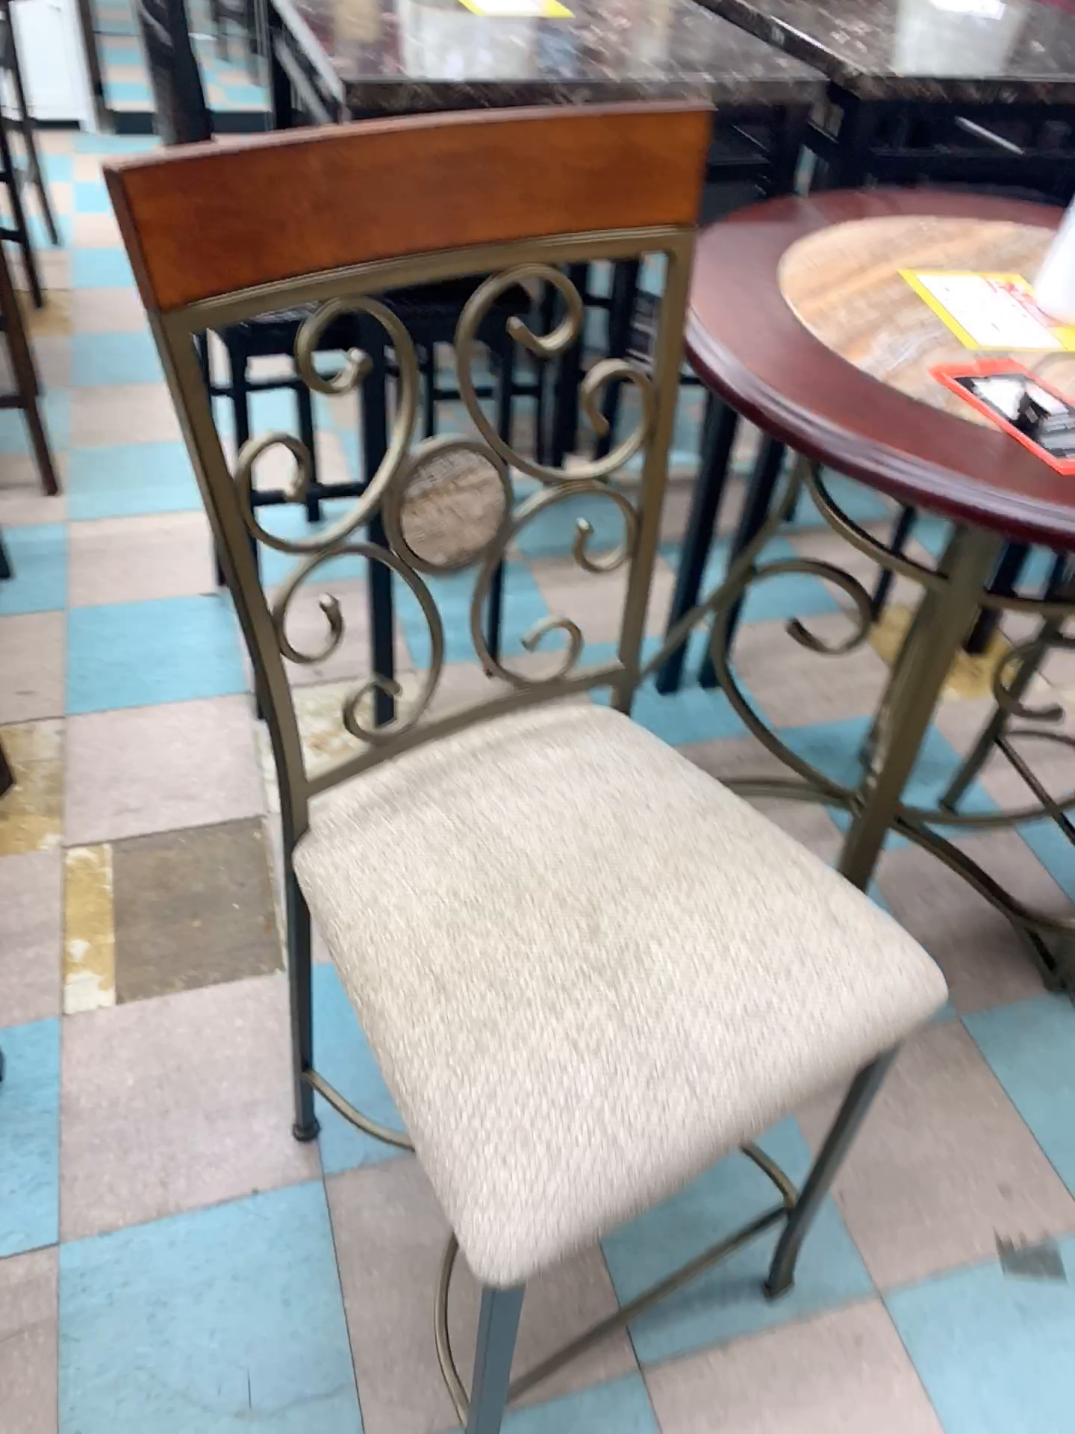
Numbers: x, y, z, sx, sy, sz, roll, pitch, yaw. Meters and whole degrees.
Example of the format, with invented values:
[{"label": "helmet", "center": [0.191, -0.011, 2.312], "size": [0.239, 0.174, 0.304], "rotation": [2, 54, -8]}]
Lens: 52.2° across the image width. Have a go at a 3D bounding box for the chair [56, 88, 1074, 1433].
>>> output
[{"label": "chair", "center": [0.037, 0.147, 0.949], "size": [0.511, 1.074, 0.562], "rotation": [-19, 48, -25]}]
